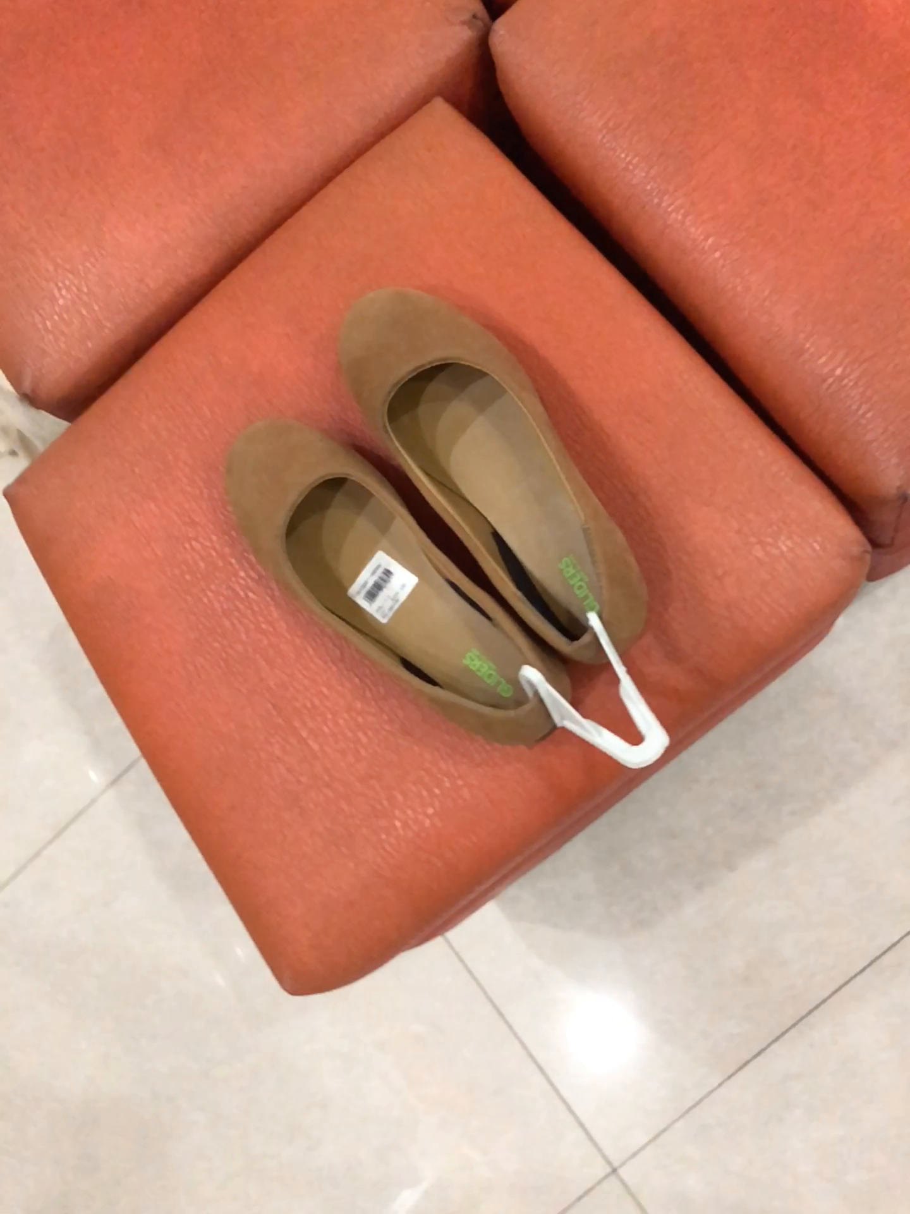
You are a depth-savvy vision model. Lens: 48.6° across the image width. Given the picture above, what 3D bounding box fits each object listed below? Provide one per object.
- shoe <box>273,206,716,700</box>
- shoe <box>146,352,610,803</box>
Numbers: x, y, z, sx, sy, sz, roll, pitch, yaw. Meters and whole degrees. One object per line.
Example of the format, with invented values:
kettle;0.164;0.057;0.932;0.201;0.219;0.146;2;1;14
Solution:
shoe;0.019;-0.091;0.591;0.097;0.071;0.287;-39;72;8
shoe;-0.051;-0.021;0.602;0.287;0.071;0.094;44;97;19
